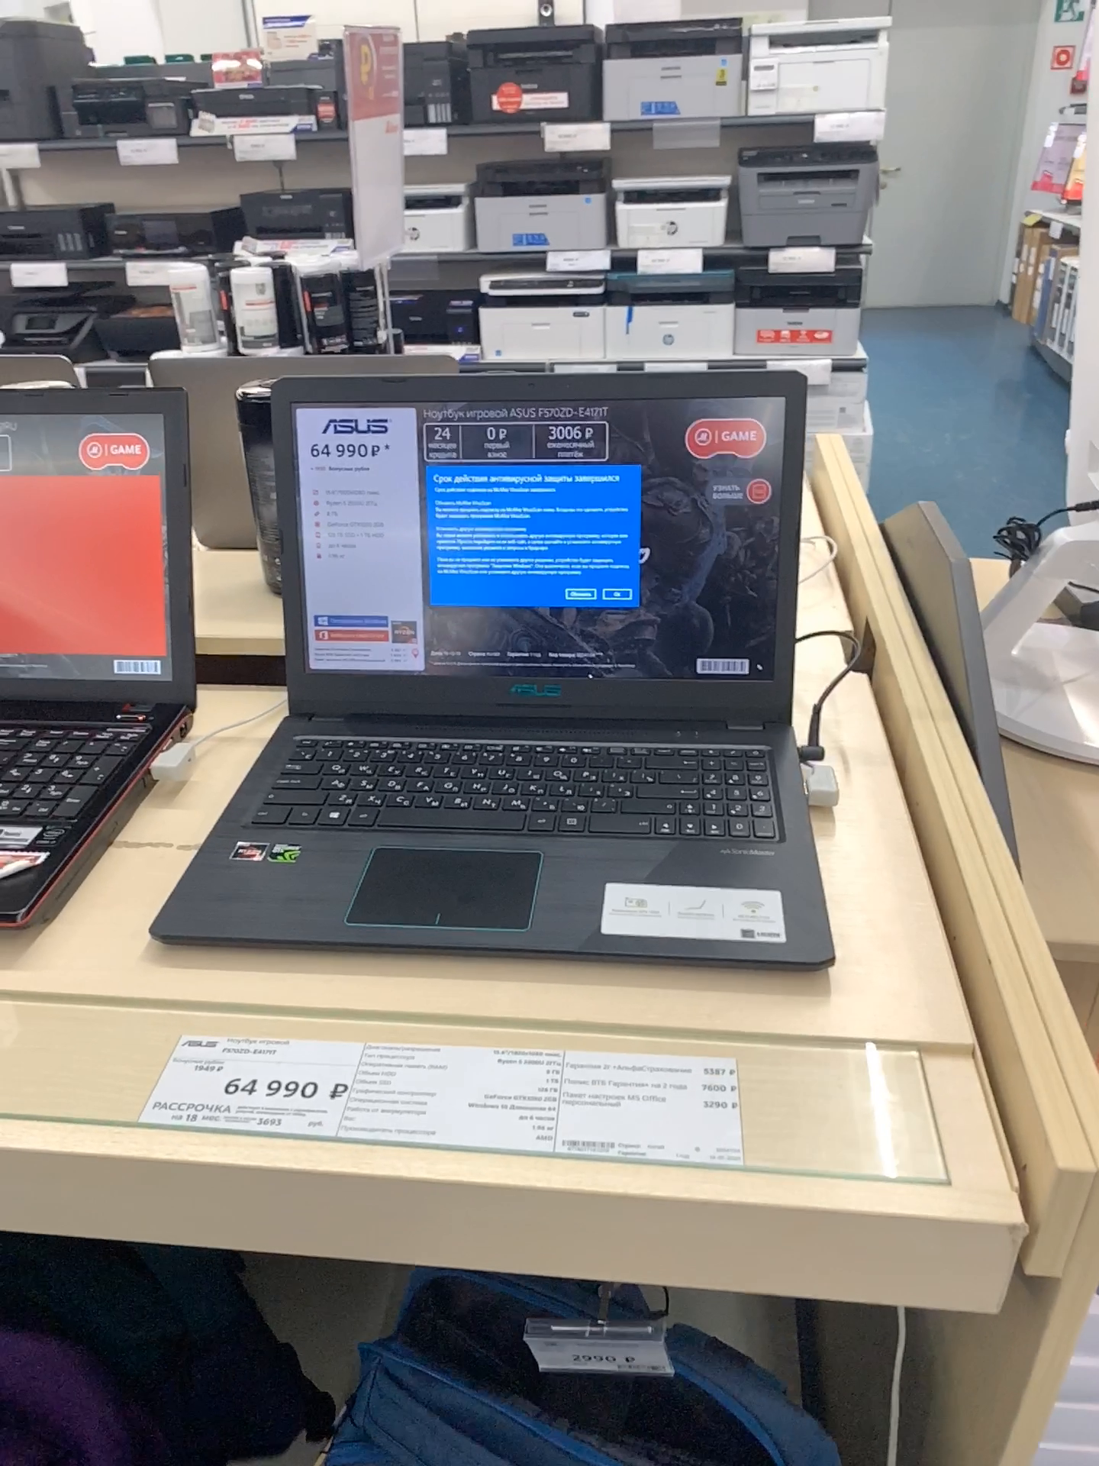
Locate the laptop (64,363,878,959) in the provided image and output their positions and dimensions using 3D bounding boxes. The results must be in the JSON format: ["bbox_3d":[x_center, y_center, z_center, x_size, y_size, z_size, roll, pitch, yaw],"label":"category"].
[{"bbox_3d":[-0.024,-0.068,0.676,0.358,0.222,0.319,1,30,6],"label":"laptop"}]
